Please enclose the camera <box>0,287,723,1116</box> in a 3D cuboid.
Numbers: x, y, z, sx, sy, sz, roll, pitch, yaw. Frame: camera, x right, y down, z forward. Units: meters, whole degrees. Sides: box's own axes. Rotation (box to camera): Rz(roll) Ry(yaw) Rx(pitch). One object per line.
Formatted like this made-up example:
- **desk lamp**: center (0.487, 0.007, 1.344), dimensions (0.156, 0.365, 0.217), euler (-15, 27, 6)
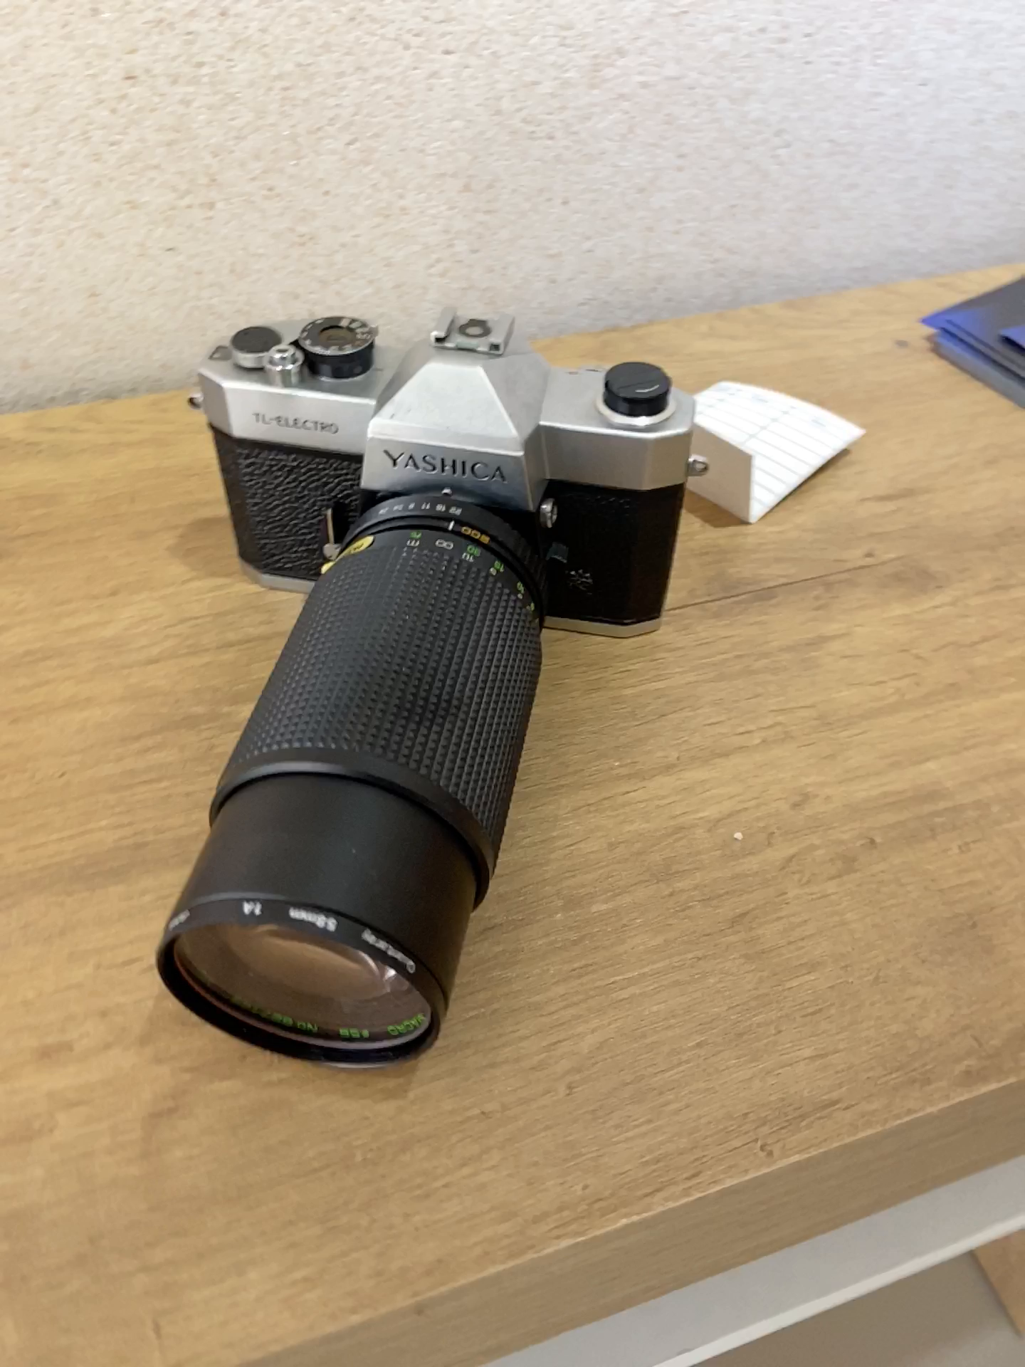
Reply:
- **camera**: center (-0.036, -0.015, 0.288), dimensions (0.150, 0.080, 0.201), euler (11, 47, 10)
